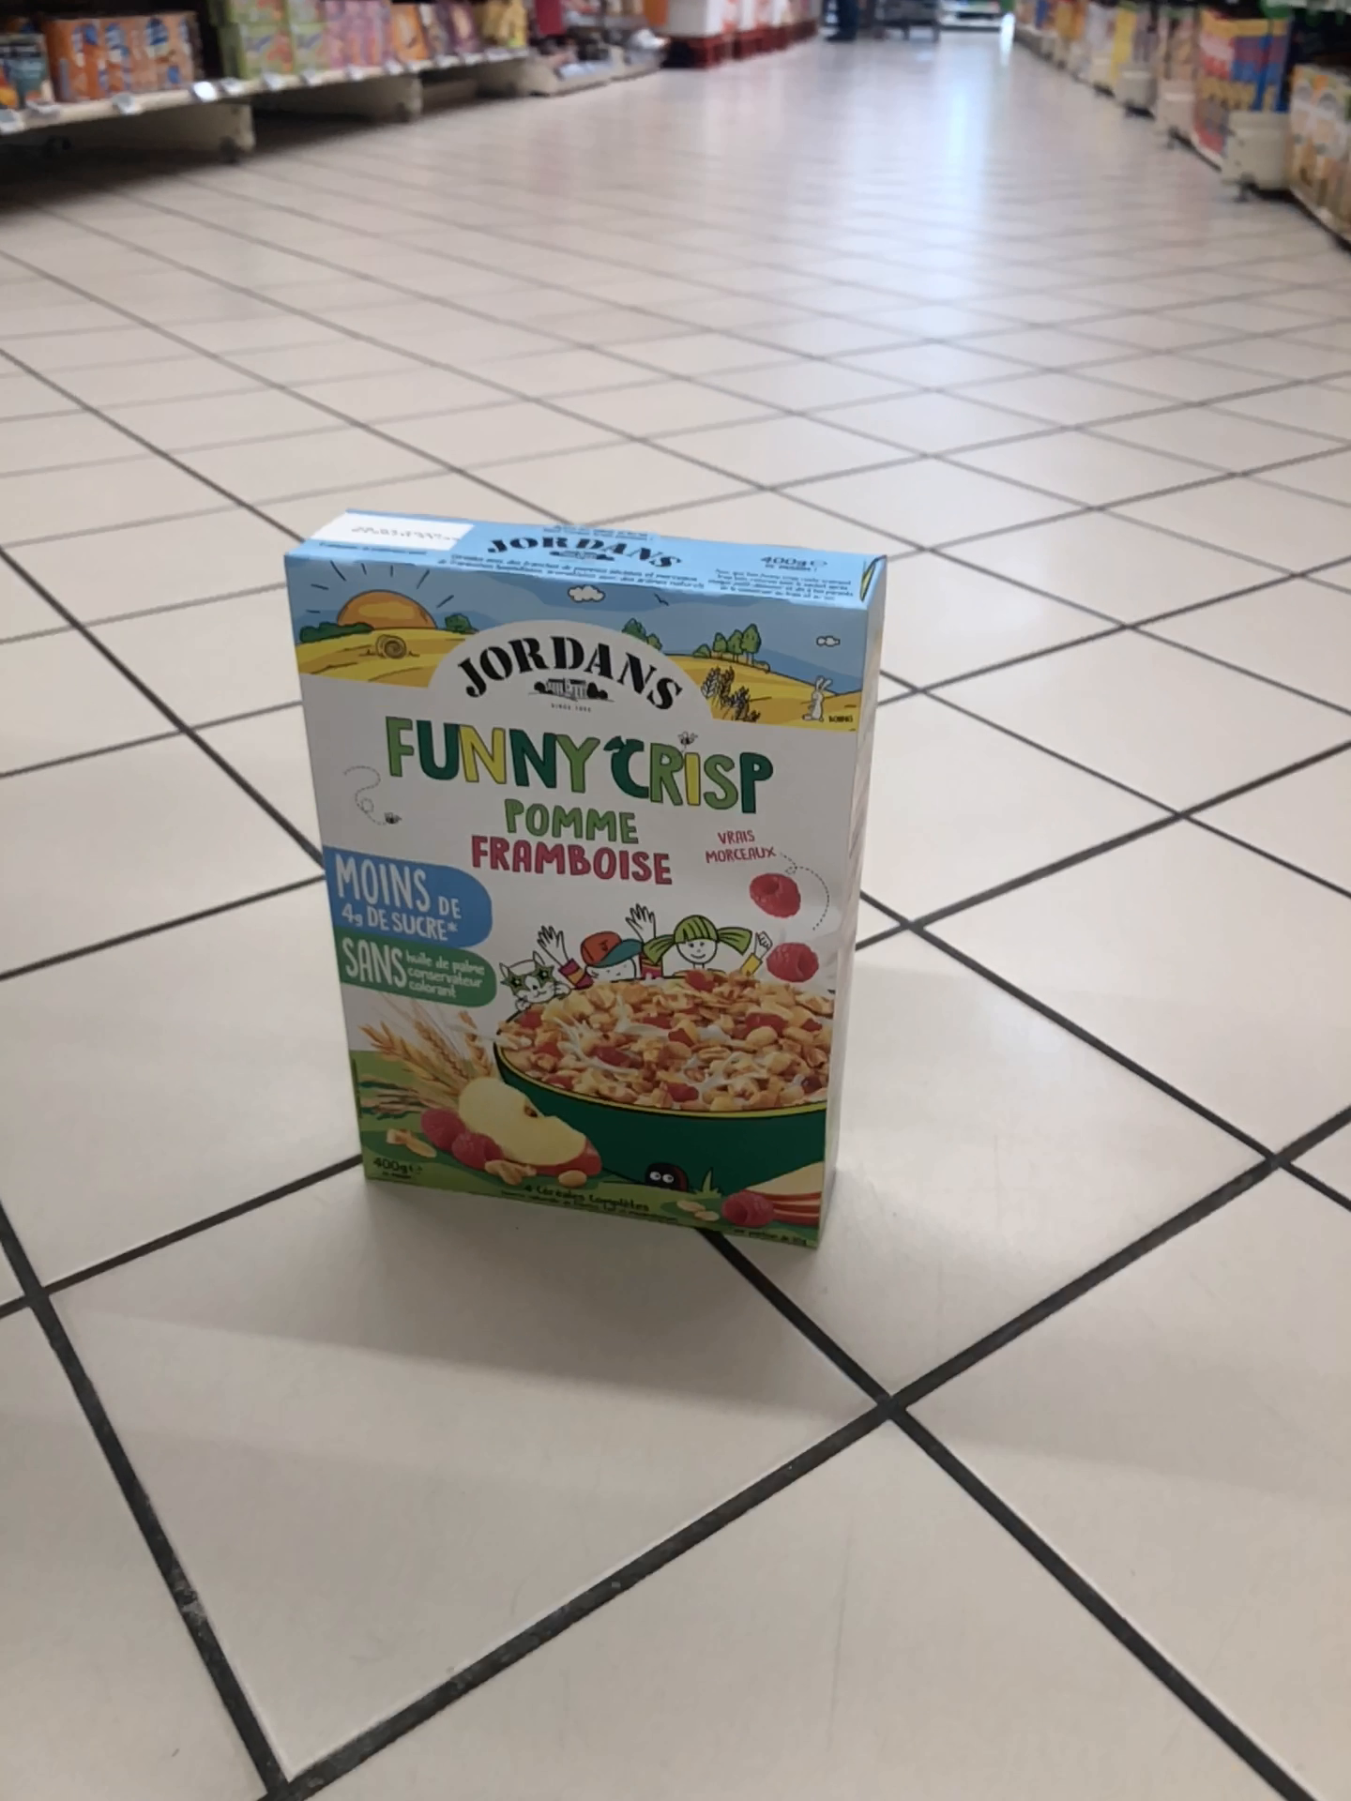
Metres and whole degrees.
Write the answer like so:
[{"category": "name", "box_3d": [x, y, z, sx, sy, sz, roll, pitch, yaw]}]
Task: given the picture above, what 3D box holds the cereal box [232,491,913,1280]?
[{"category": "cereal box", "box_3d": [-0.028, -0.001, 0.480, 0.180, 0.229, 0.070, 7, 31, 9]}]
